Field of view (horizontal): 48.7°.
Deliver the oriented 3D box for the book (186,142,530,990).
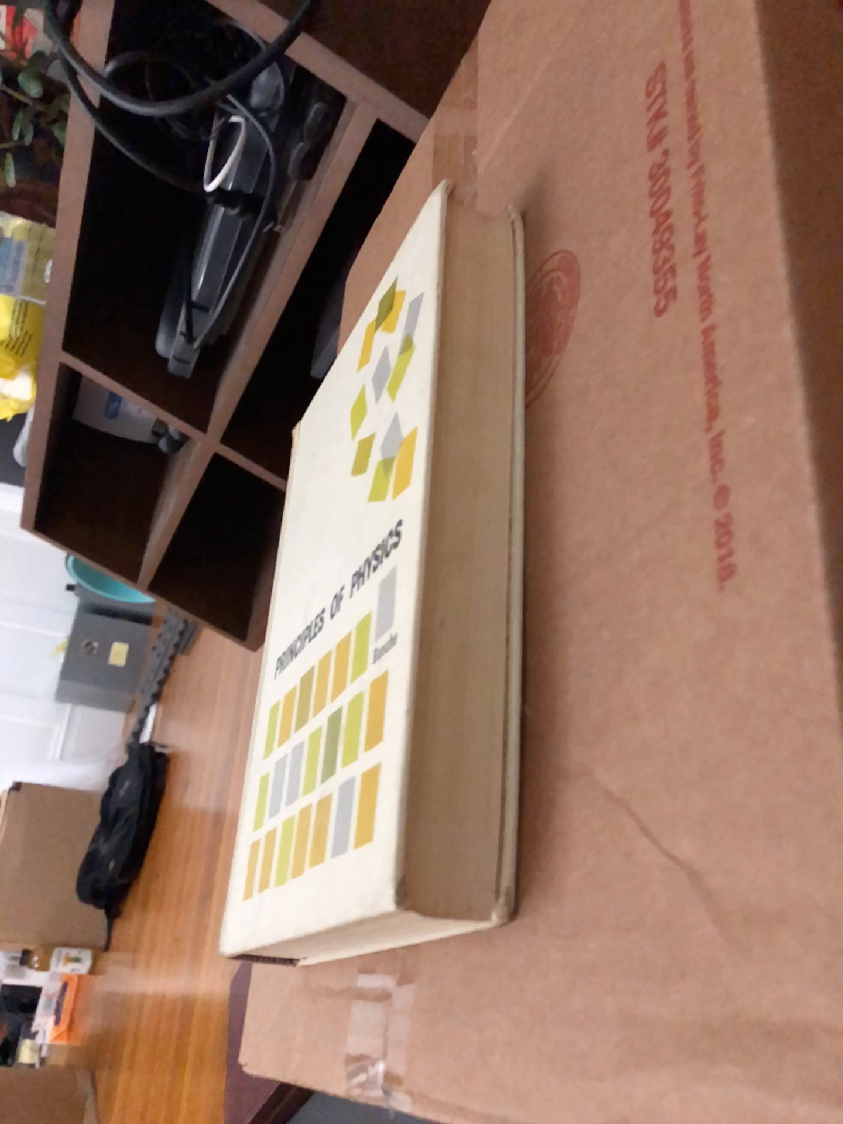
[{"bbox_3d":[-0.025,0.012,0.333,0.180,0.040,0.250,135,144,-55],"label":"book"}]
